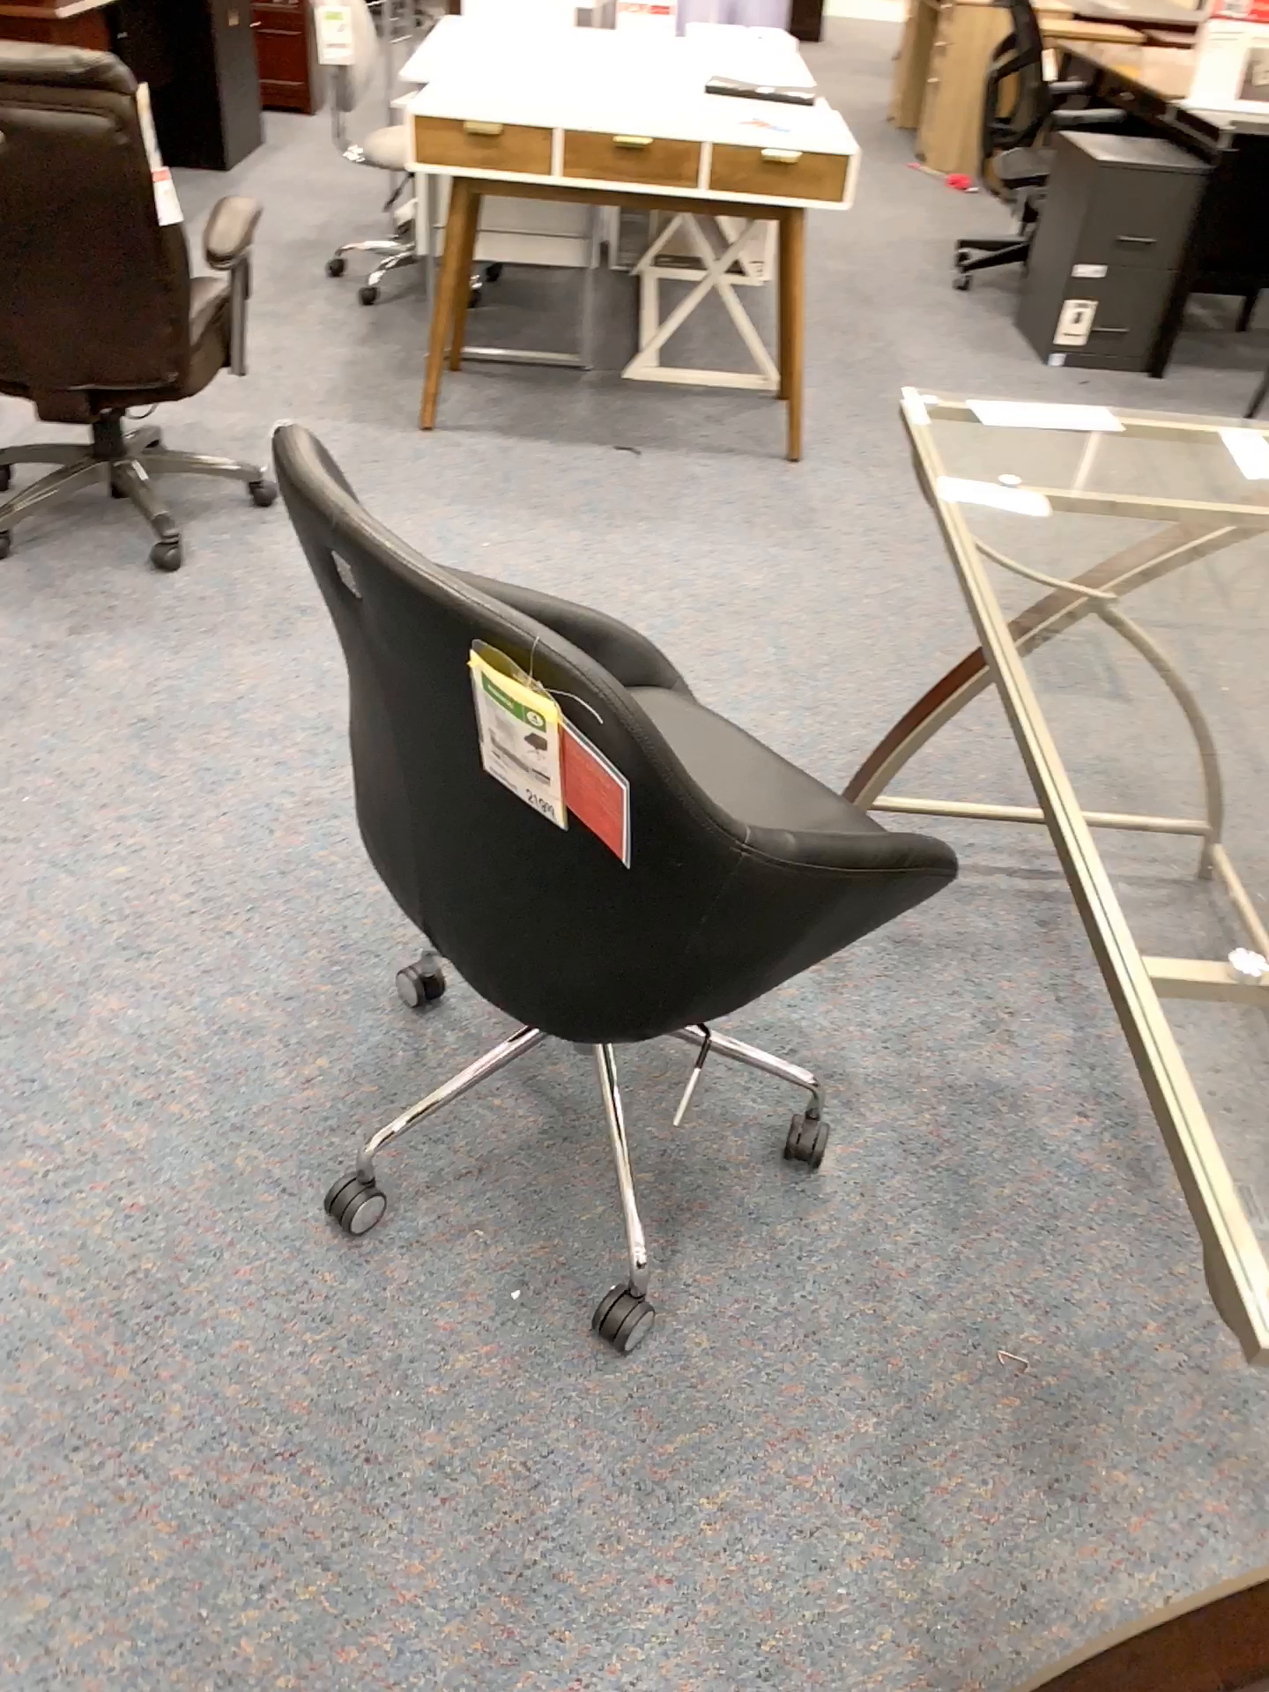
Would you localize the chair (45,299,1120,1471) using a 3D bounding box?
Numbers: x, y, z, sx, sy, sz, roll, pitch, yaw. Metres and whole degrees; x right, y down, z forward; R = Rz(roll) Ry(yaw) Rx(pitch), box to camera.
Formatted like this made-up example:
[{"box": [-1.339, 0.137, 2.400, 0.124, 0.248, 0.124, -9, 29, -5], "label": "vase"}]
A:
[{"box": [-0.084, -0.006, 1.360, 0.655, 0.844, 0.659, -24, 47, -32], "label": "chair"}]

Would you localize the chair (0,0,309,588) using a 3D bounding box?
[{"box": [-1.111, -1.149, 2.605, 0.727, 0.923, 0.858, 0, 38, -7], "label": "chair"}]
